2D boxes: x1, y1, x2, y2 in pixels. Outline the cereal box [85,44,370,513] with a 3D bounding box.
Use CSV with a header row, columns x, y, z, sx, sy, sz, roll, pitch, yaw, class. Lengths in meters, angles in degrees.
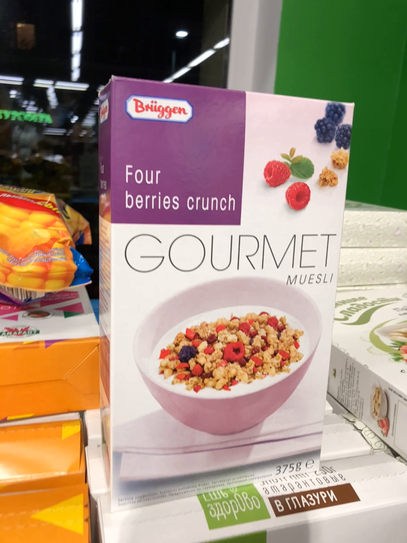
x,y,z,sx,sy,sz,roll,pitch,yaw,class
0.009,0.006,0.255,0.140,0.219,0.050,-2,11,-20,cereal box
